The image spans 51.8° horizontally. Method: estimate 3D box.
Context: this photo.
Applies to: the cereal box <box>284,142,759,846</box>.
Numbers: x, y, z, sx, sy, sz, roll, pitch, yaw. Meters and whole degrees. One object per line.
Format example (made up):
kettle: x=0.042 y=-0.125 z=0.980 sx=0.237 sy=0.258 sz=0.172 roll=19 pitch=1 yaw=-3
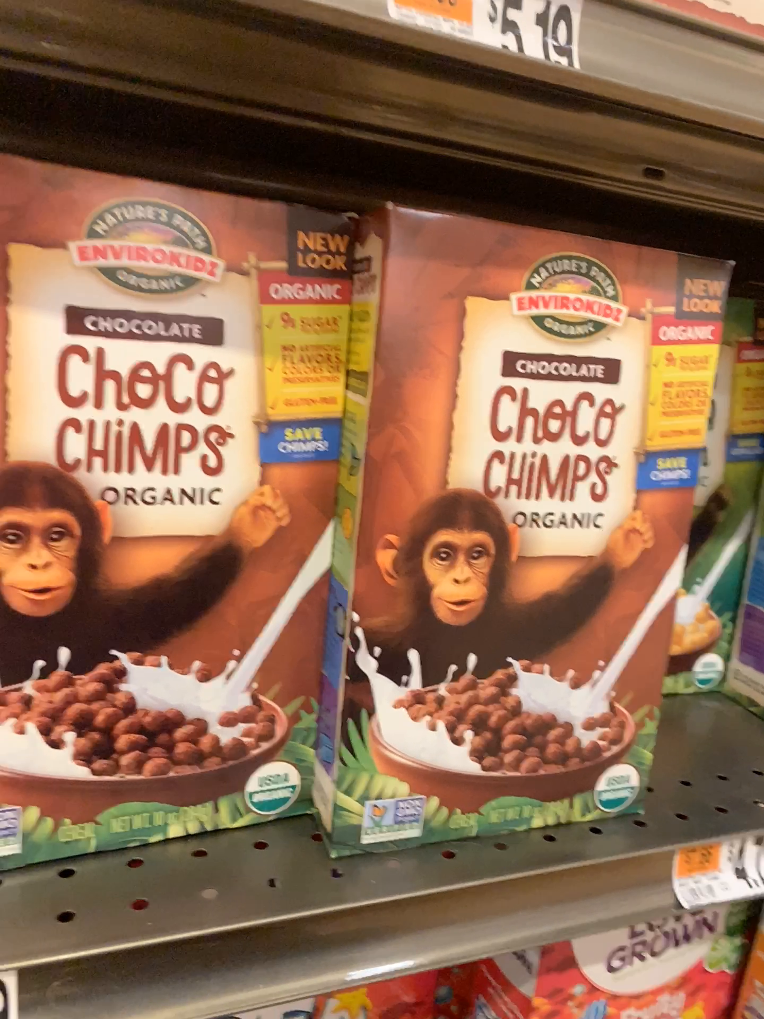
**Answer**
cereal box: x=0.057 y=0.000 z=0.354 sx=0.170 sy=0.269 sz=0.060 roll=2 pitch=11 yaw=-21
